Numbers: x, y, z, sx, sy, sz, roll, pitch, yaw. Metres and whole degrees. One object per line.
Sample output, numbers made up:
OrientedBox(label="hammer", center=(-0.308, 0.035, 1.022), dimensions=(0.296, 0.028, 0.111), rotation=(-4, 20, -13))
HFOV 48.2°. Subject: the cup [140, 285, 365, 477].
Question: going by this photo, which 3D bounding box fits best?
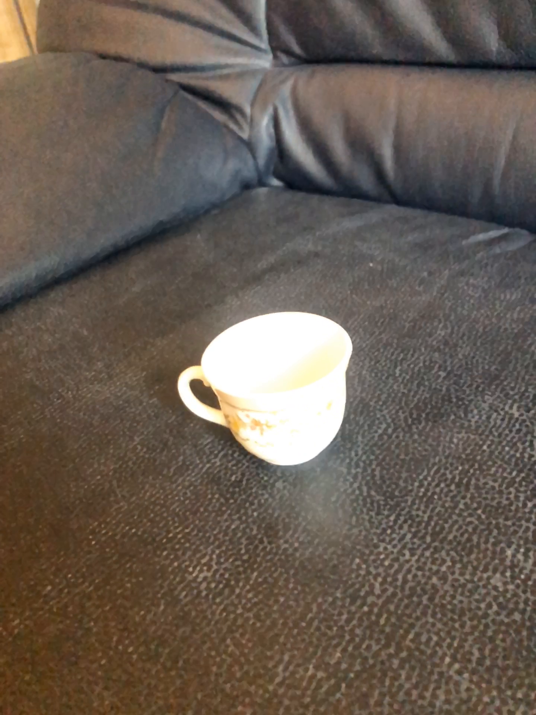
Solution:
OrientedBox(label="cup", center=(-0.001, 0.009, 0.265), dimensions=(0.083, 0.050, 0.069), rotation=(-3, 36, 10))
